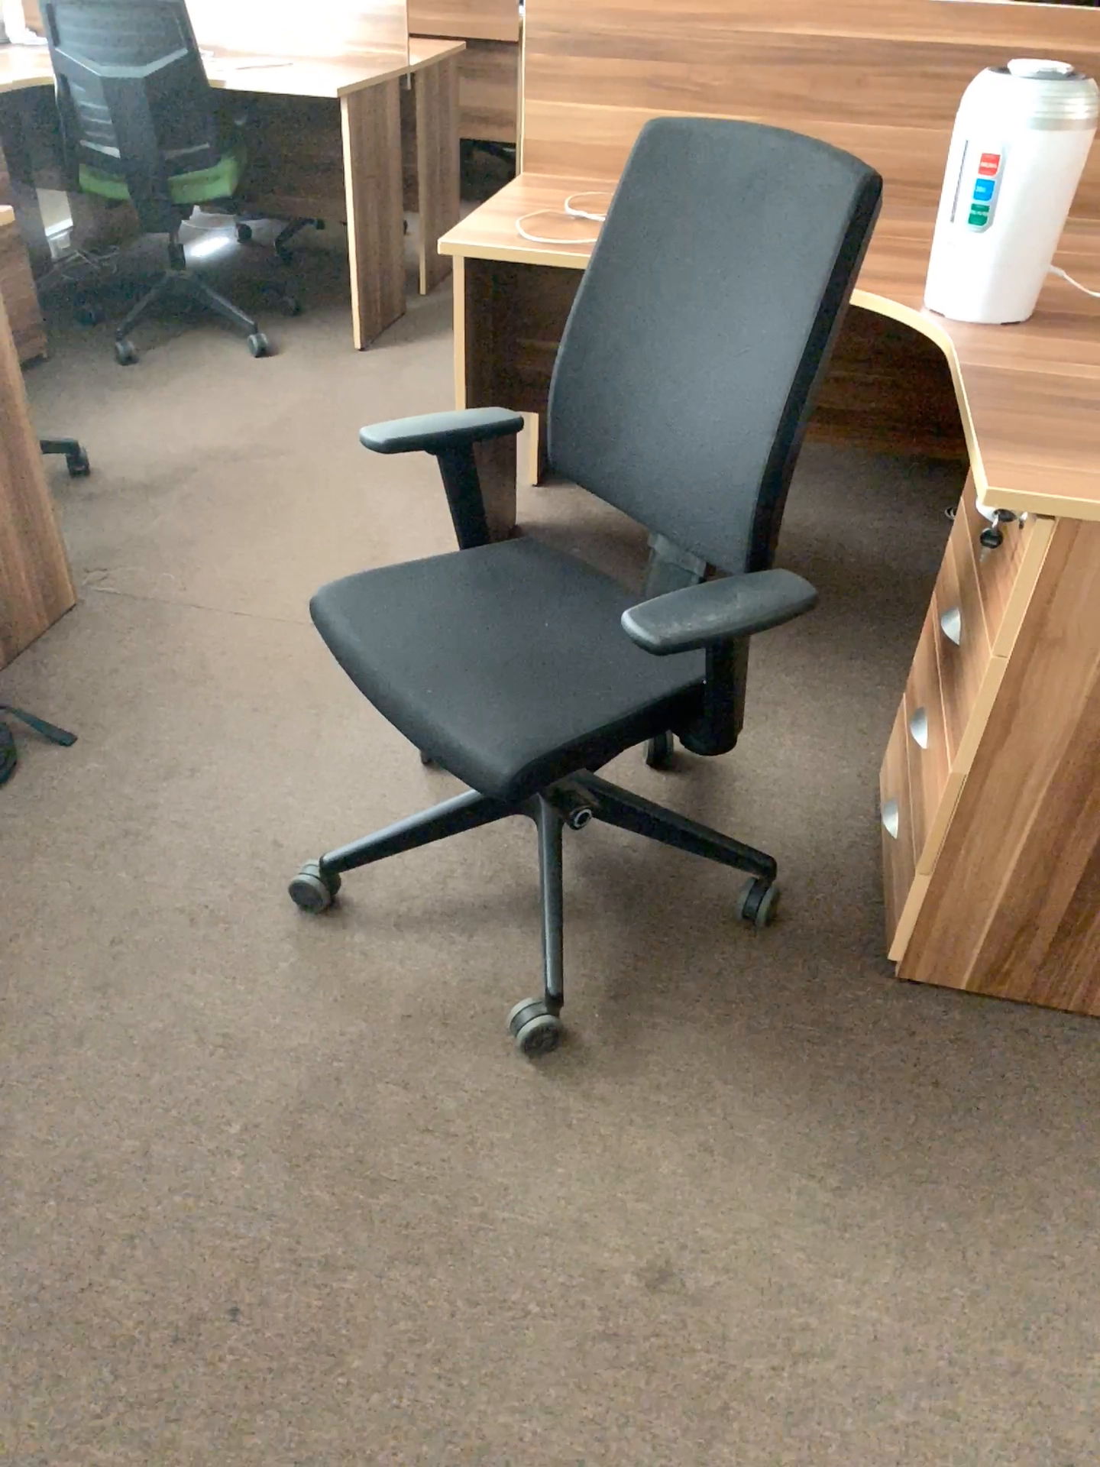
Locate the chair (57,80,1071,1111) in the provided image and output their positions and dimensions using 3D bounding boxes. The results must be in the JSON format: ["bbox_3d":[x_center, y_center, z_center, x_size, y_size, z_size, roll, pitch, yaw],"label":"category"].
[{"bbox_3d":[-0.010,-0.235,1.414,0.791,0.915,0.672,-22,43,-29],"label":"chair"}]
